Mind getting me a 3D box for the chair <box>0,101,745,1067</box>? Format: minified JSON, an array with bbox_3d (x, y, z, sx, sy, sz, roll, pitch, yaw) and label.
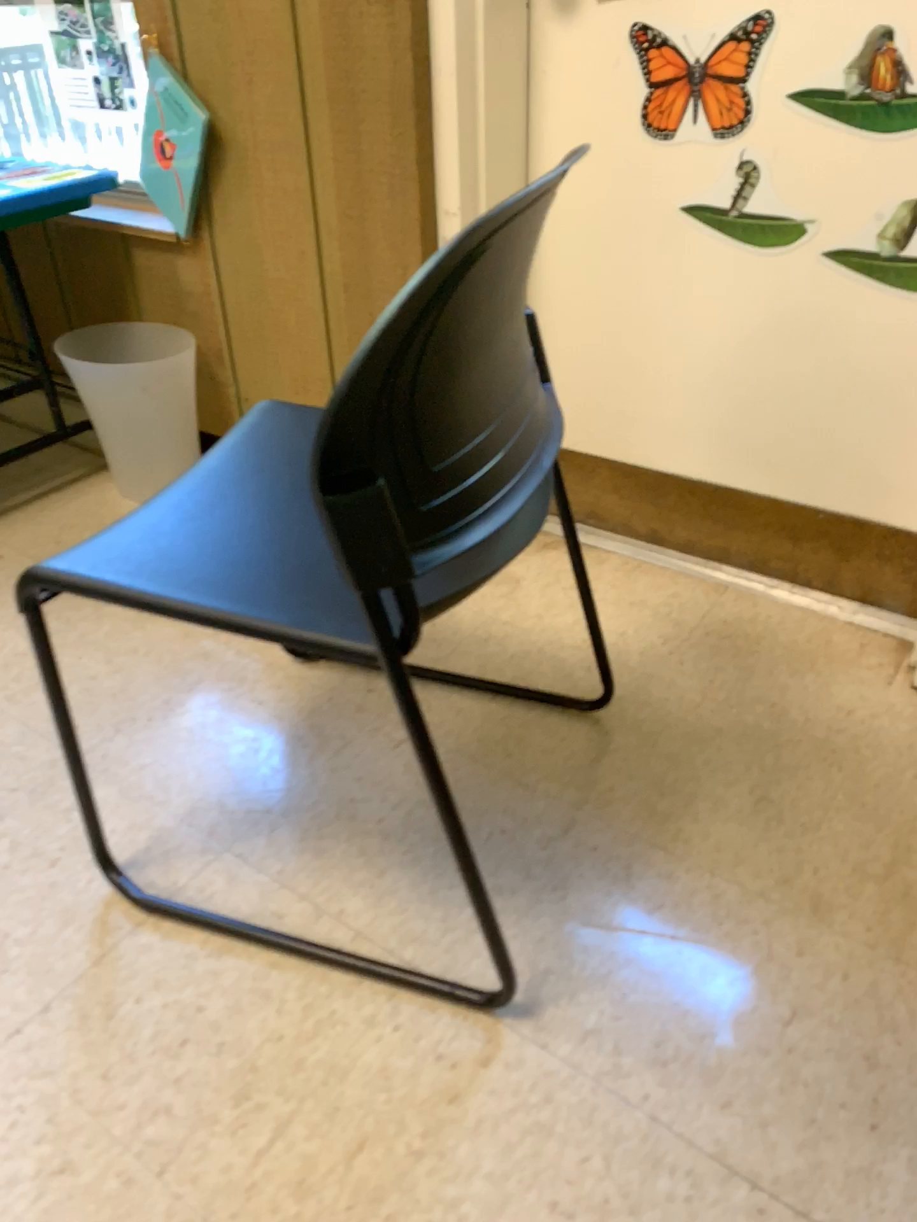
[{"bbox_3d":[-0.084,-0.080,1.024,0.621,0.795,0.583,9,35,17],"label":"chair"}]
